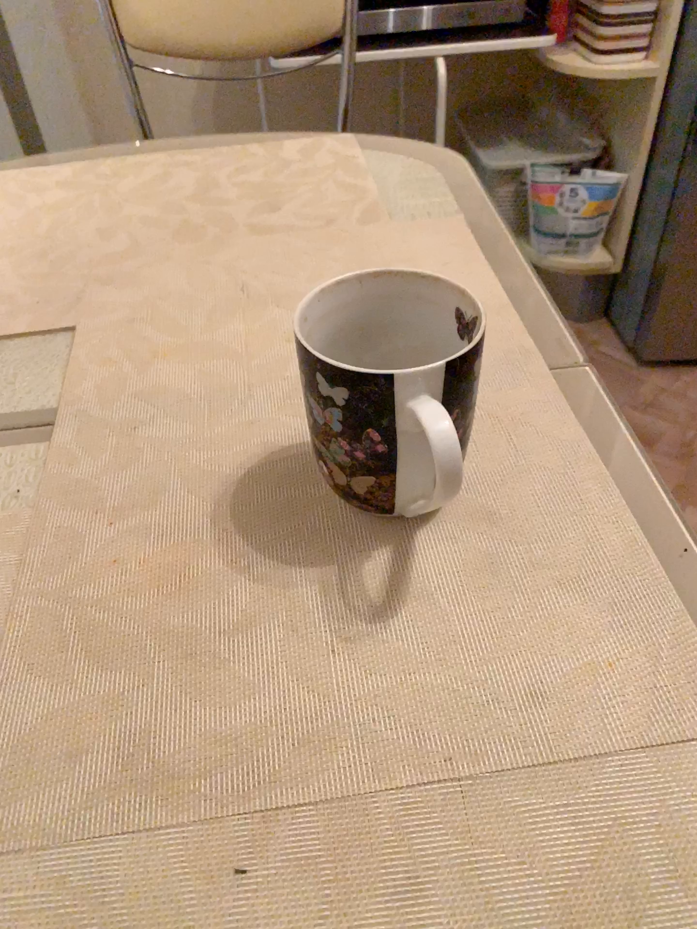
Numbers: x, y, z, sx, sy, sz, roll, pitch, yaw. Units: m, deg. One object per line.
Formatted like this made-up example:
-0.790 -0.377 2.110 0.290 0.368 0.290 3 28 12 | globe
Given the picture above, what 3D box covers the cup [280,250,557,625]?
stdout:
0.022 -0.016 0.320 0.081 0.097 0.127 -9 44 -5 | cup
